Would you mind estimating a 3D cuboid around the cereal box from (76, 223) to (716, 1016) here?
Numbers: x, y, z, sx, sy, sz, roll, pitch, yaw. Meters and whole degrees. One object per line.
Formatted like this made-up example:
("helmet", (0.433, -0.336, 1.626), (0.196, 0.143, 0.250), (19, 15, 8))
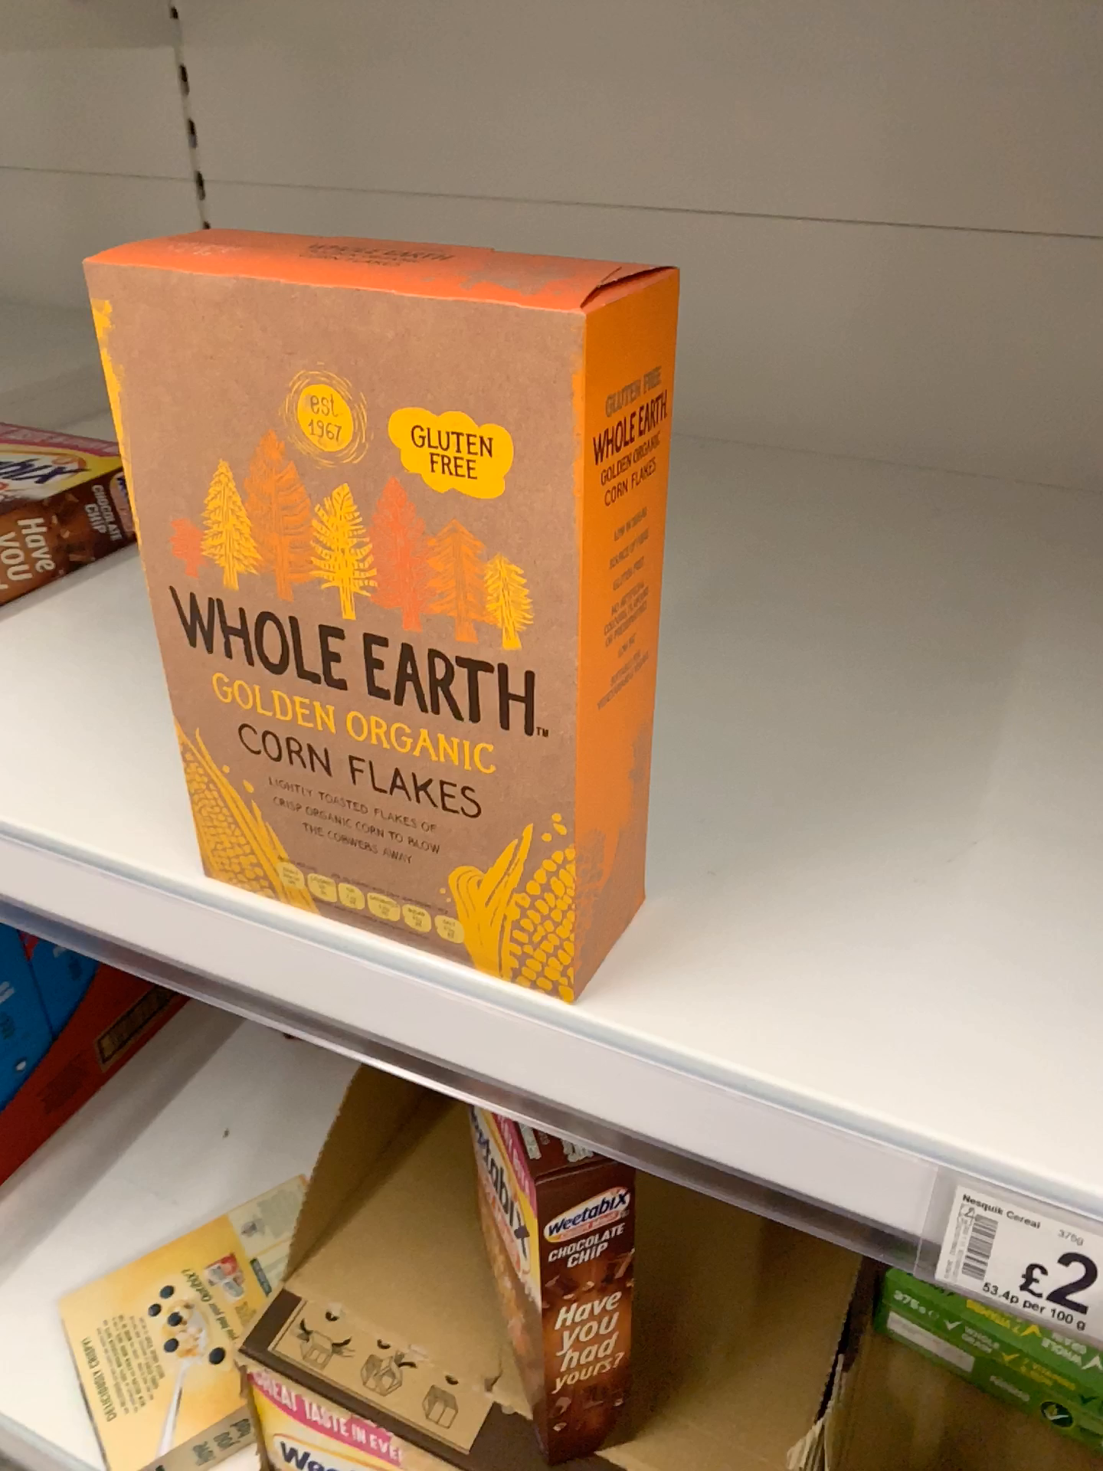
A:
("cereal box", (-0.054, -0.048, 0.455), (0.200, 0.267, 0.091), (15, 34, 23))
